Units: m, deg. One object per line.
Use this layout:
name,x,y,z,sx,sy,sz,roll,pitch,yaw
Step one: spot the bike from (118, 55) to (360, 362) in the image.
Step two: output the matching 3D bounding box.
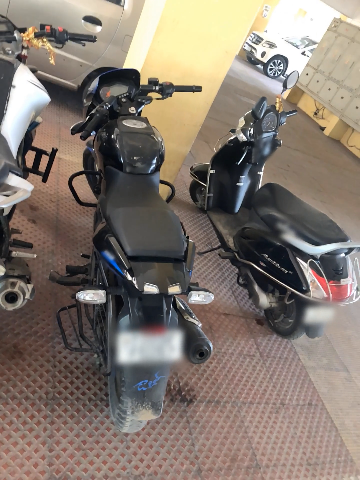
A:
bike,0.358,-0.278,2.729,0.713,1.222,1.720,5,36,-34

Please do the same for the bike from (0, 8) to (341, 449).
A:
bike,-0.391,-0.216,1.811,0.745,0.989,1.852,11,33,-27
